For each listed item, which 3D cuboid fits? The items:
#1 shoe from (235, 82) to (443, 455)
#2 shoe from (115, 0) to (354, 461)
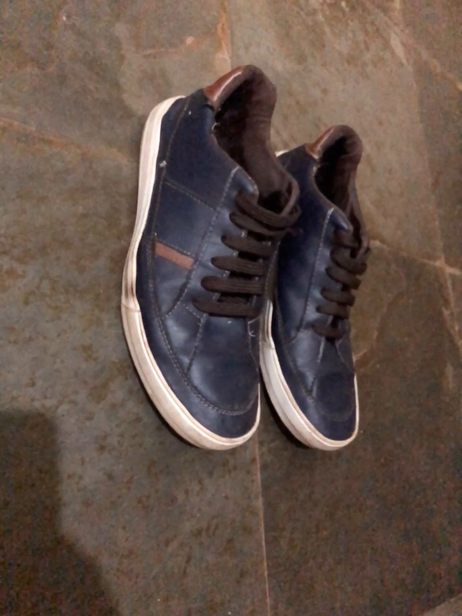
[{"bbox_3d":[0.090,-0.026,0.455,0.111,0.099,0.290,7,73,-42],"label":"shoe"},{"bbox_3d":[-0.004,-0.045,0.372,0.121,0.099,0.290,9,71,-41],"label":"shoe"}]
